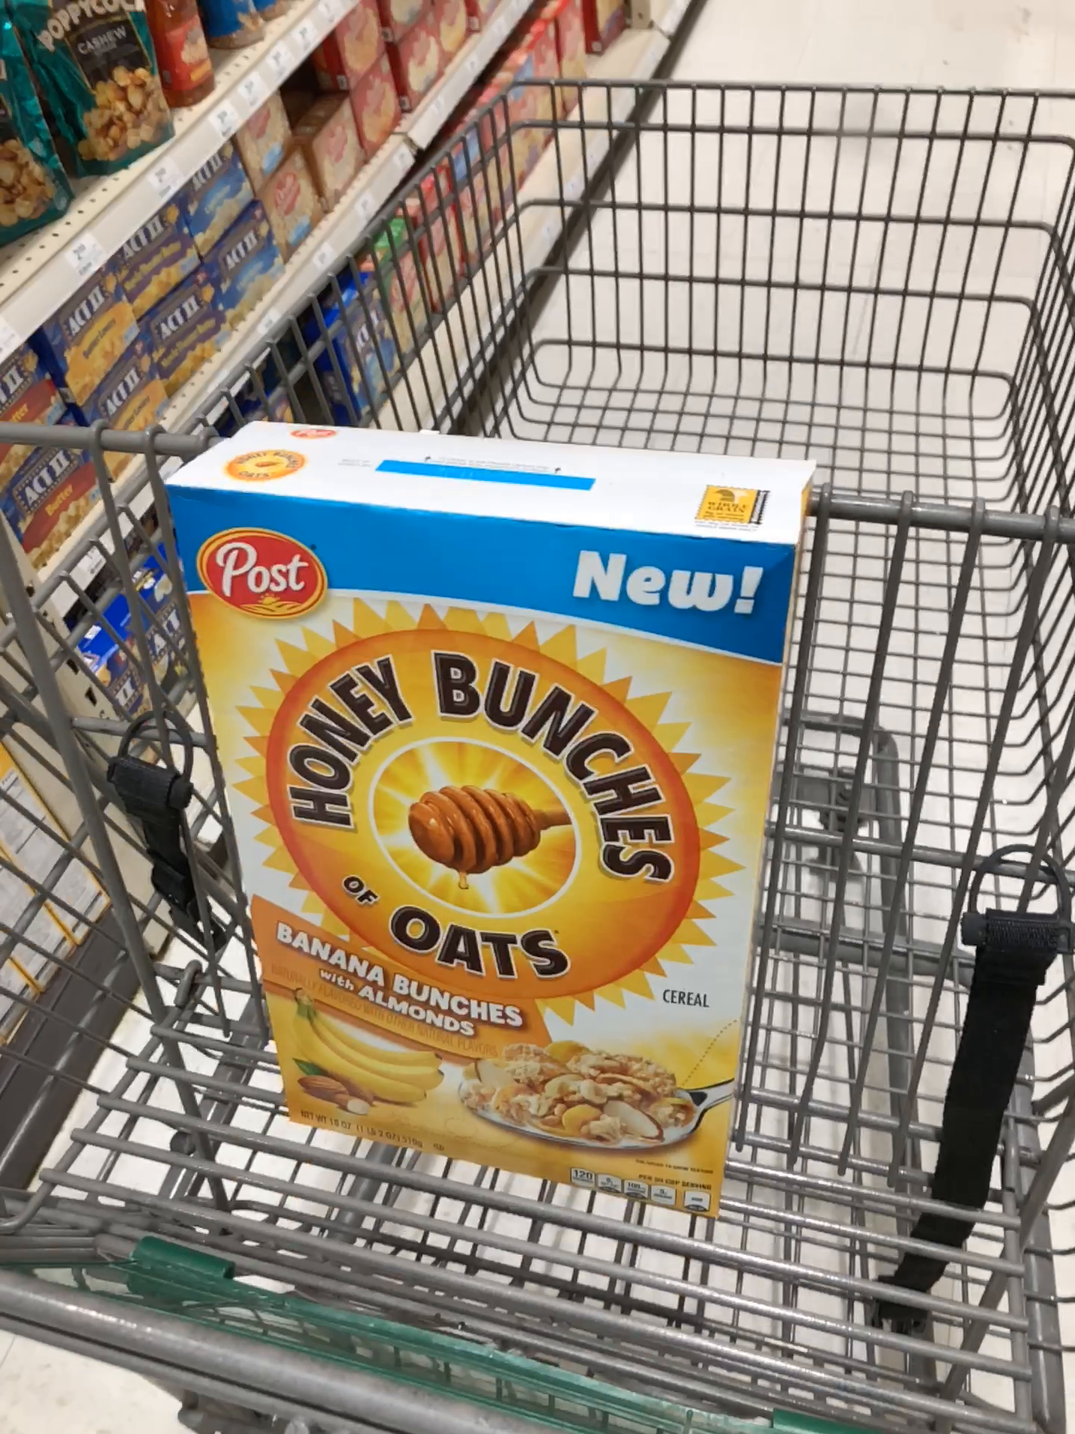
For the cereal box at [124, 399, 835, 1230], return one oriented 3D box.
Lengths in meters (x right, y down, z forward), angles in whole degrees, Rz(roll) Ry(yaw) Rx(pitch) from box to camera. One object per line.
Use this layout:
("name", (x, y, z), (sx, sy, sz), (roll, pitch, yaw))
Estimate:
("cereal box", (-0.015, 0.049, 0.432), (0.200, 0.300, 0.060), (8, 35, 12))
